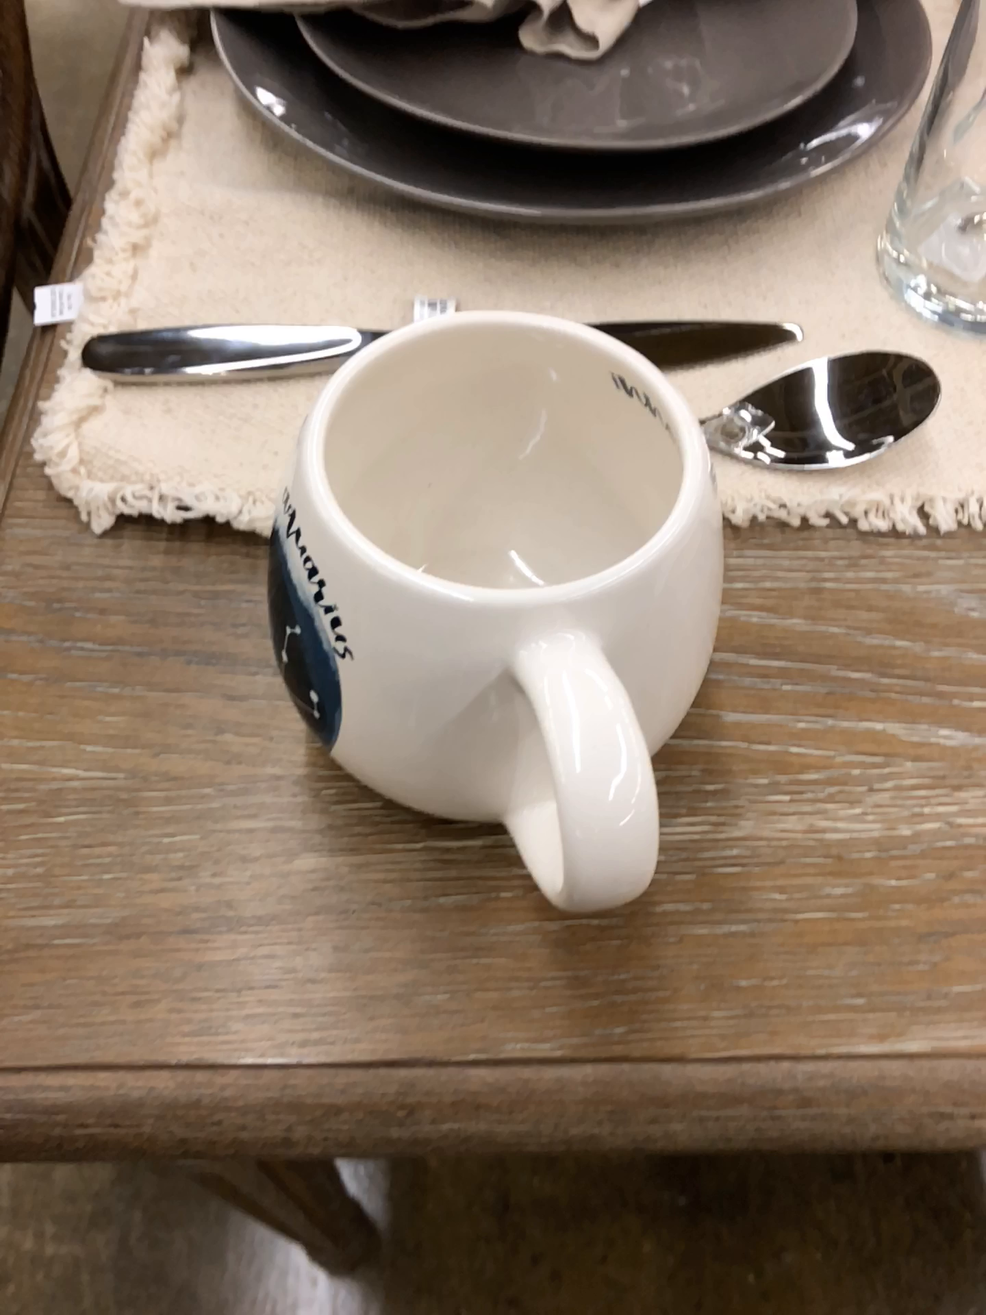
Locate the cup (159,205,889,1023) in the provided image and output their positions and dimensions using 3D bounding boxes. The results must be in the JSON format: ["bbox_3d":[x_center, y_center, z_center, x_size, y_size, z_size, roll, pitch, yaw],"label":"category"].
[{"bbox_3d":[-0.003,-0.013,0.233,0.082,0.081,0.134,-21,60,-14],"label":"cup"}]
